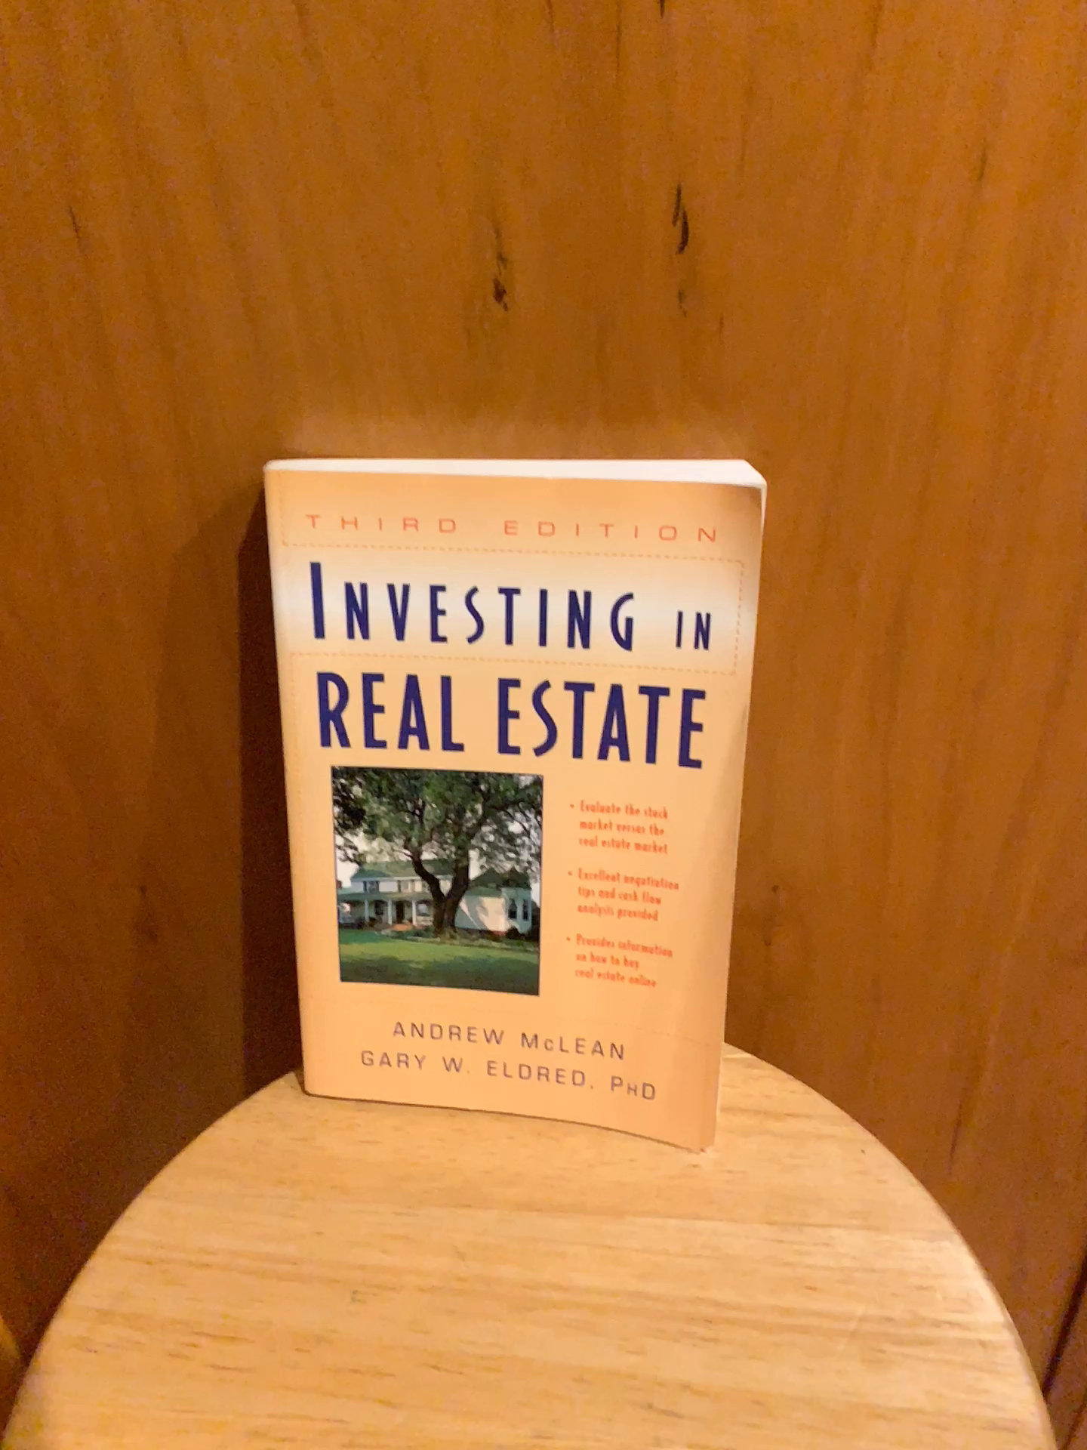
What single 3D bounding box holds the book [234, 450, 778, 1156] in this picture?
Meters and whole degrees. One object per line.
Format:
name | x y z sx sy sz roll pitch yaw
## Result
book | -0.012 0.027 0.382 0.160 0.229 0.050 3 17 6
